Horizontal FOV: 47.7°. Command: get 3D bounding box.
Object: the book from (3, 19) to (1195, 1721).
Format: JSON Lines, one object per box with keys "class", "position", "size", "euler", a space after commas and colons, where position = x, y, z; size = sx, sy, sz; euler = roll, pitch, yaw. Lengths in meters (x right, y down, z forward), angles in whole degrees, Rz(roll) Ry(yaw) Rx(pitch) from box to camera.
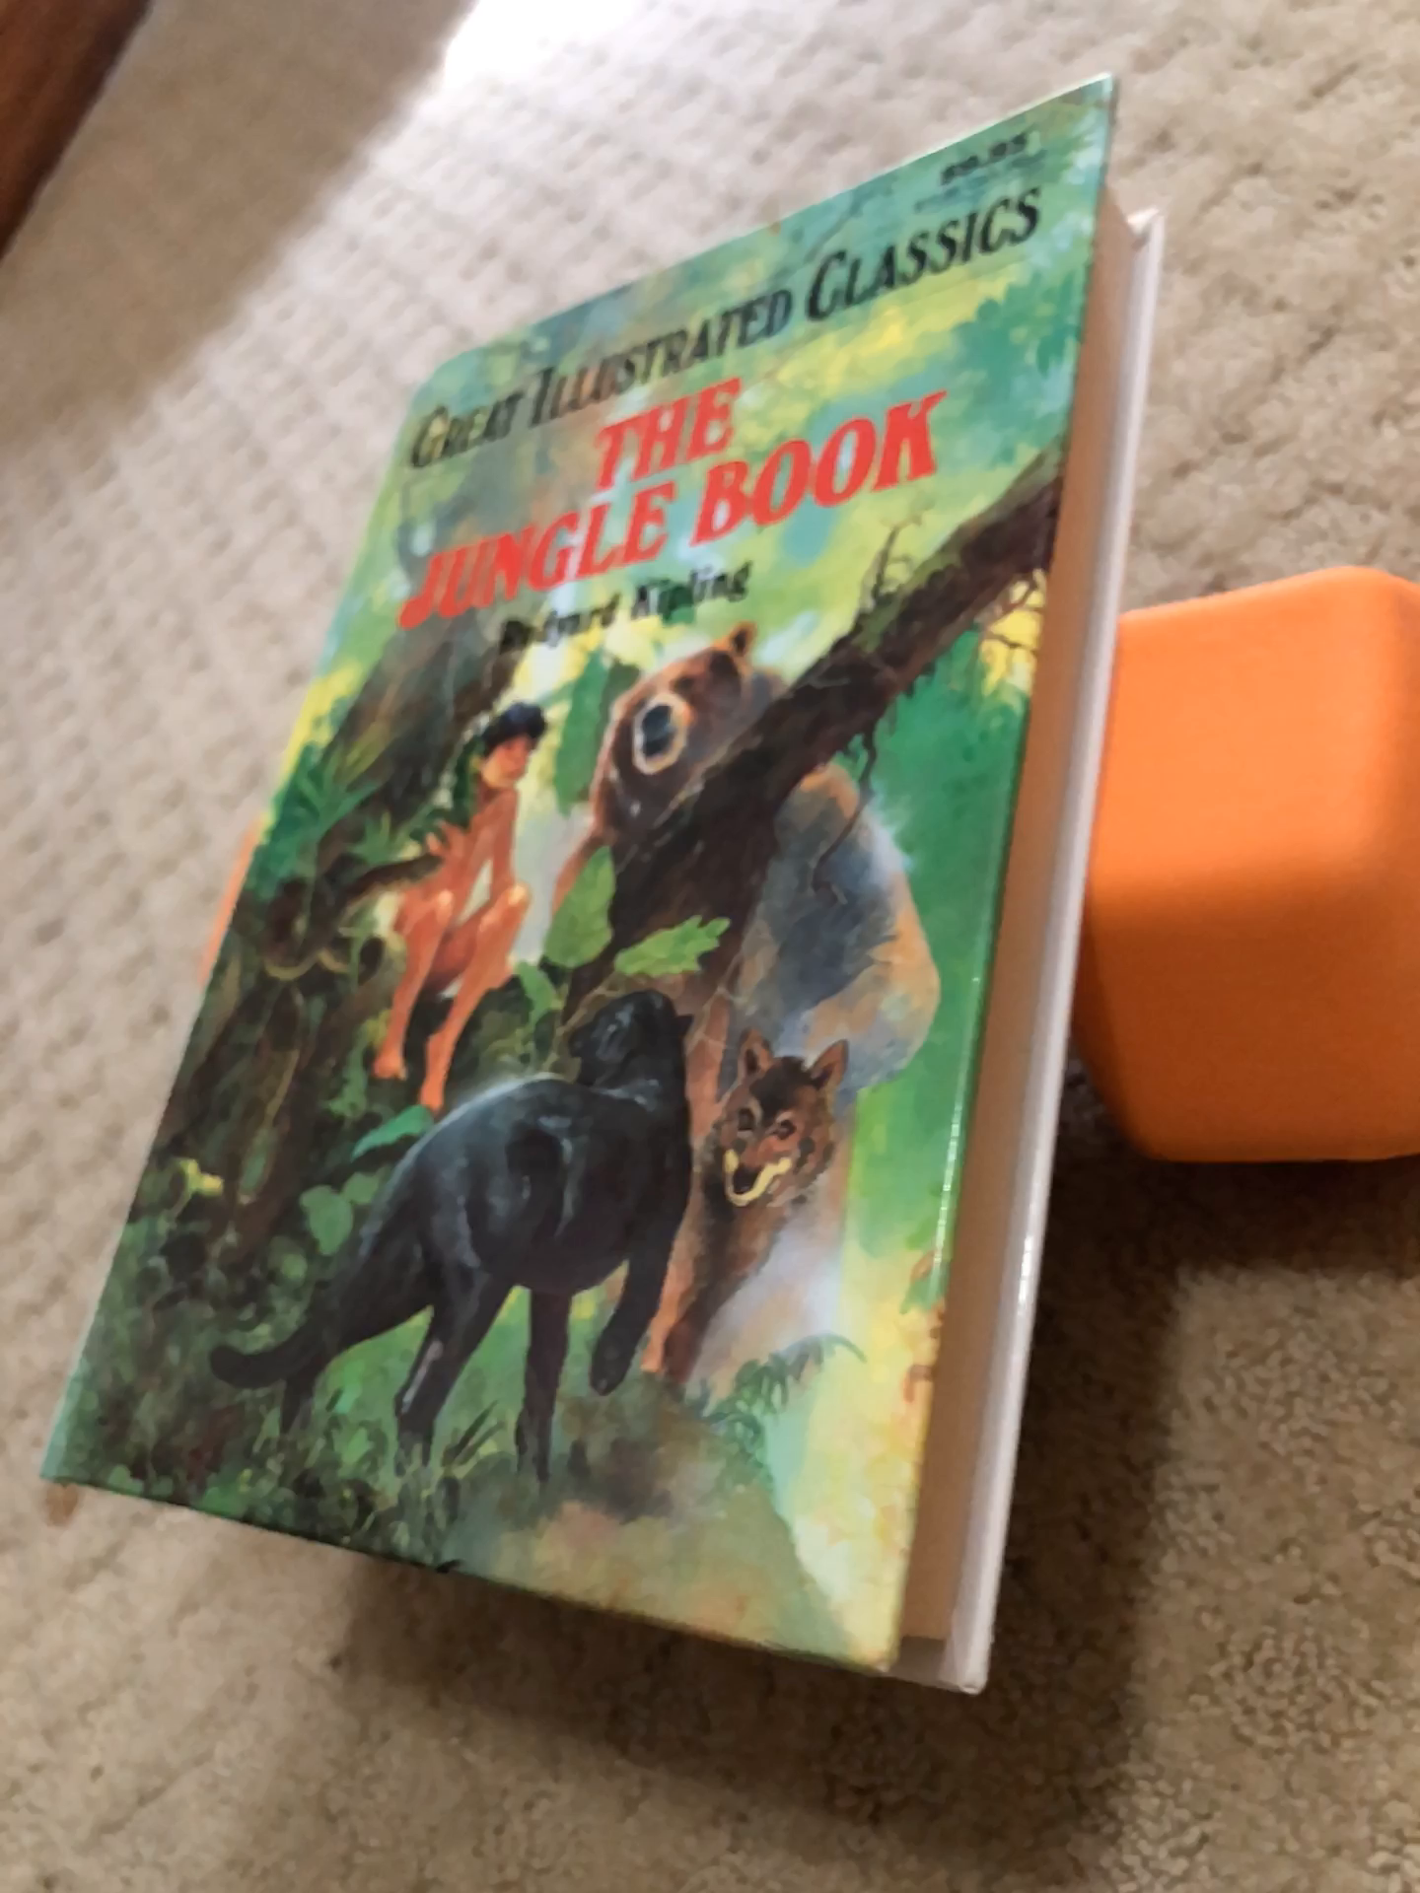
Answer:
{"class": "book", "position": [-0.013, -0.019, 0.229], "size": [0.140, 0.029, 0.208], "euler": [-5, 63, 37]}
